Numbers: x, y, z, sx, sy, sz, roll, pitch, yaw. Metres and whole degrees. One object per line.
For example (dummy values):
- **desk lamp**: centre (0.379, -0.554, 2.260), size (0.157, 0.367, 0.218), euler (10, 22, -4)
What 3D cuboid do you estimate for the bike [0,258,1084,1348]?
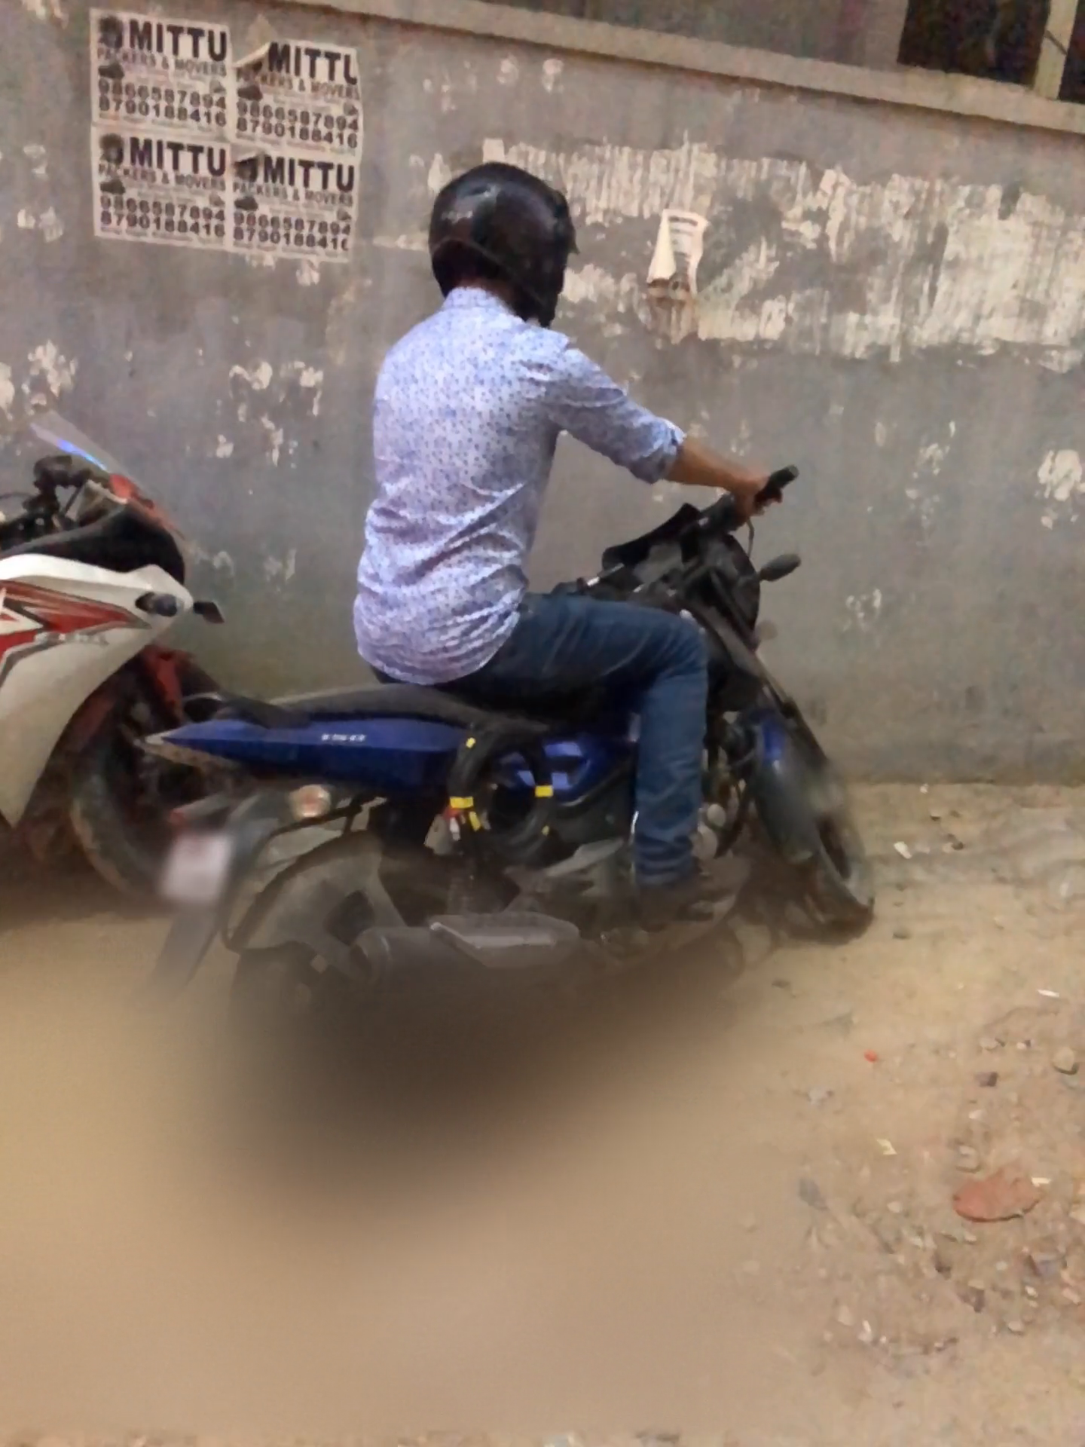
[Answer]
- **bike**: centre (0.054, -0.092, 2.240), size (1.093, 1.113, 1.509), euler (21, 33, 33)
